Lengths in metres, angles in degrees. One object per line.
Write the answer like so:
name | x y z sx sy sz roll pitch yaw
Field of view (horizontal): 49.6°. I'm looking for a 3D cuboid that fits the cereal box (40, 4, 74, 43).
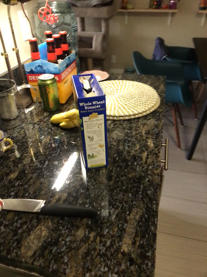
cereal box | -1.350 -3.438 6.709 0.750 0.913 0.756 -1 34 0
